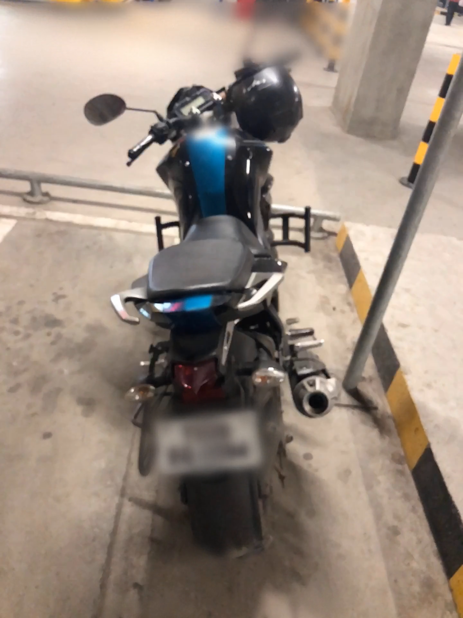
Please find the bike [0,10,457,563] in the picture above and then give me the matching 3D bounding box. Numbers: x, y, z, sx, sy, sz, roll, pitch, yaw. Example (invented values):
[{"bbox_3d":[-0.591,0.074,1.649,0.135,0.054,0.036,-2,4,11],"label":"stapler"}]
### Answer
[{"bbox_3d":[-0.178,-0.203,1.551,0.766,0.951,1.421,4,36,-8],"label":"bike"}]
